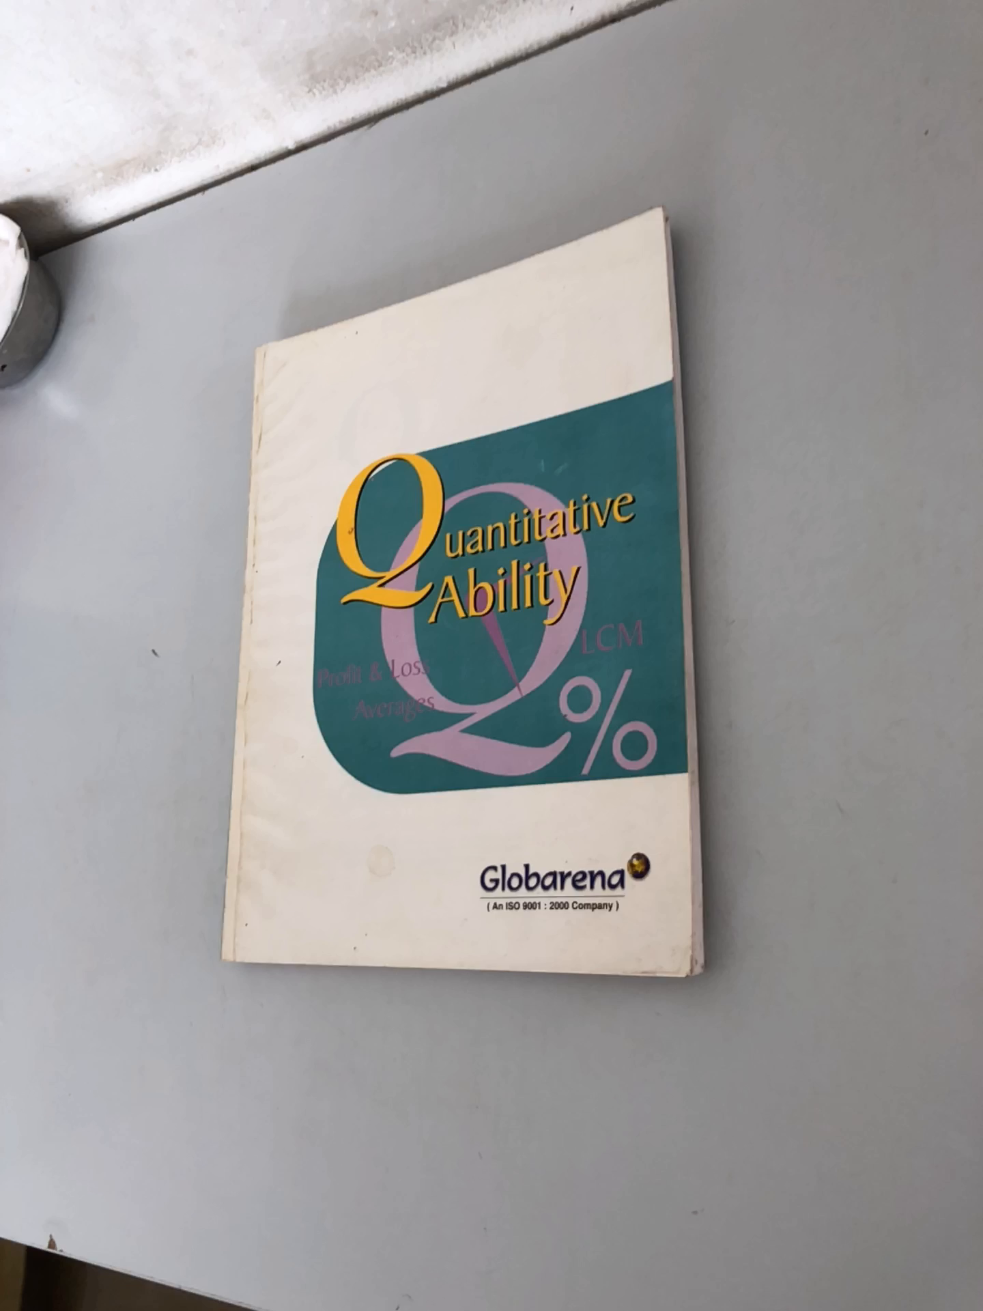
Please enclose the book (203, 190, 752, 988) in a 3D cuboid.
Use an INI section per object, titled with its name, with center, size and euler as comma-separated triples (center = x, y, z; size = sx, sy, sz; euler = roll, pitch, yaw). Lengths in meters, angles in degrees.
[book]
center = -0.014, -0.016, 0.372
size = 0.191, 0.020, 0.240
euler = -7, 75, 30
